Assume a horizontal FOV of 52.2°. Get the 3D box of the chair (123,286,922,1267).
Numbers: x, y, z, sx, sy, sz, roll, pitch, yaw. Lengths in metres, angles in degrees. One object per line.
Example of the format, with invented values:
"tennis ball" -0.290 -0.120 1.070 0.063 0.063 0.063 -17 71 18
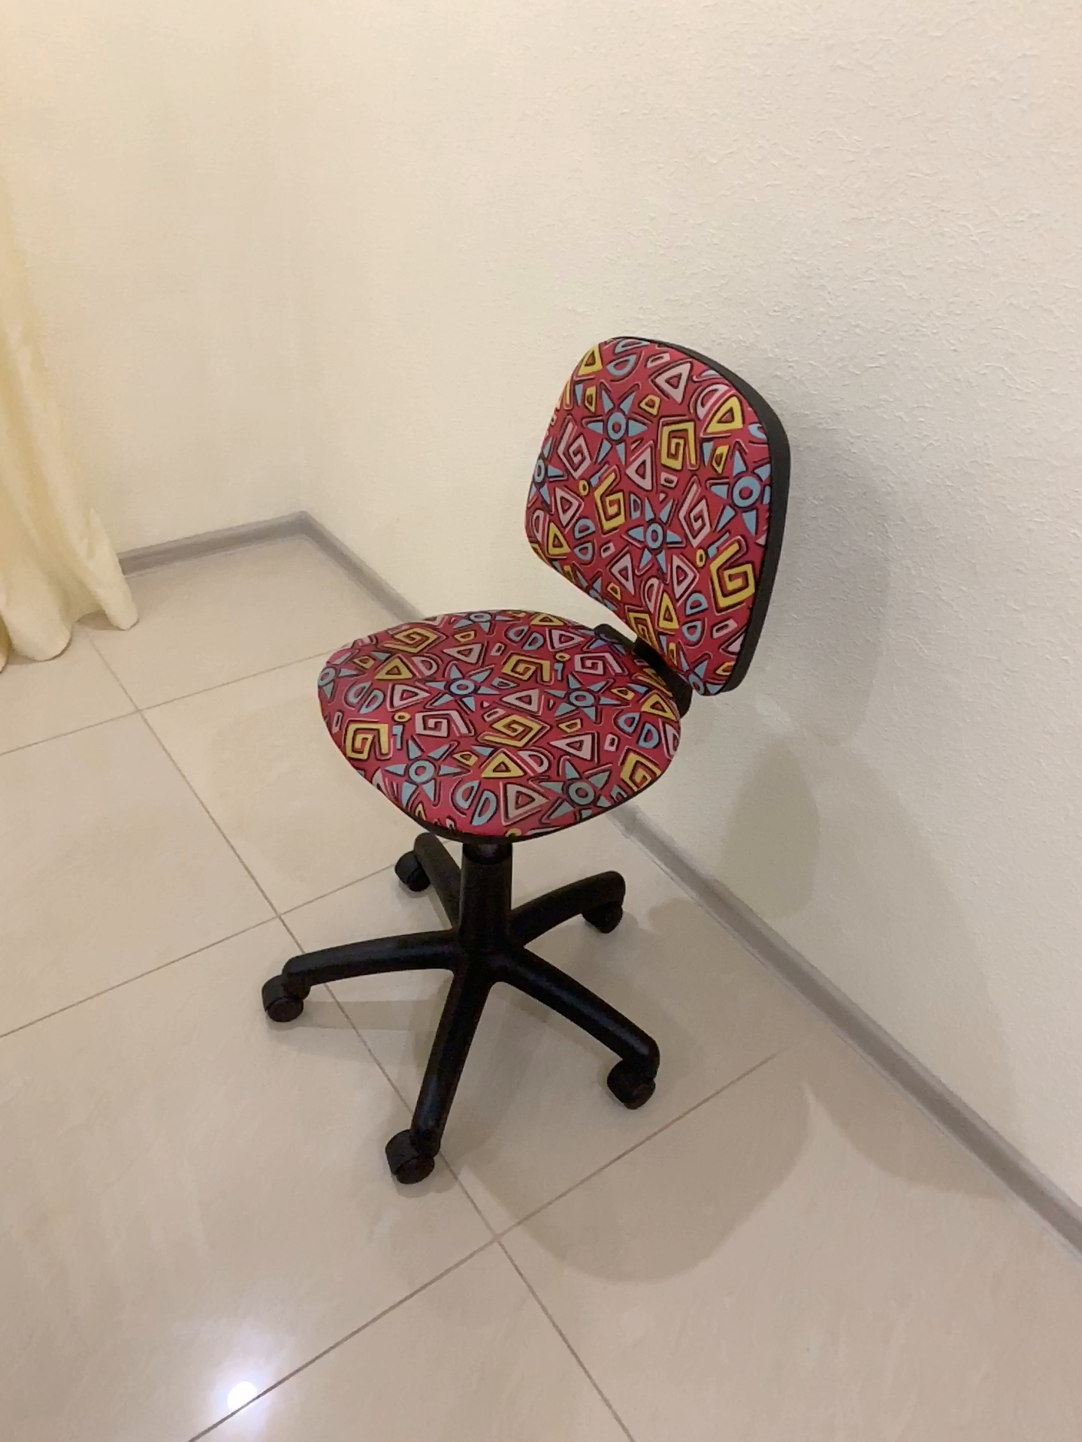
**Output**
"chair" -0.060 0.048 1.313 0.541 0.885 0.552 -21 44 -30
